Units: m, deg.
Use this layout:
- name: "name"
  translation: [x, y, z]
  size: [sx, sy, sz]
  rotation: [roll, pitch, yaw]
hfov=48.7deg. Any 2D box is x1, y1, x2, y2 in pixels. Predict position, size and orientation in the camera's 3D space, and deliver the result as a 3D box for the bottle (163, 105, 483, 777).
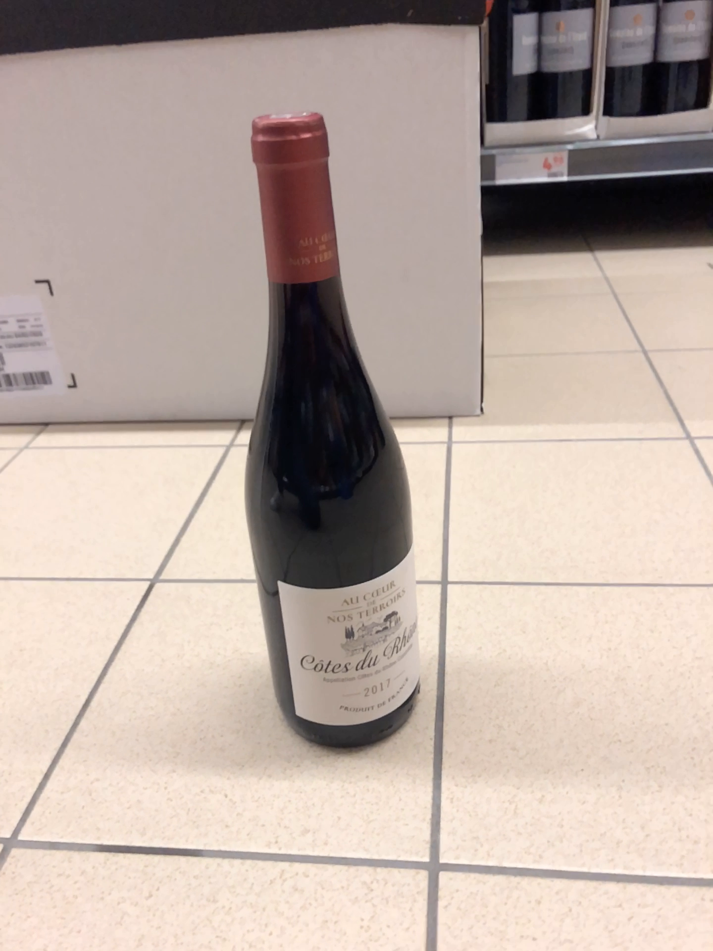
- name: "bottle"
  translation: [-0.007, -0.009, 0.348]
  size: [0.090, 0.268, 0.090]
  rotation: [-4, 29, 2]
